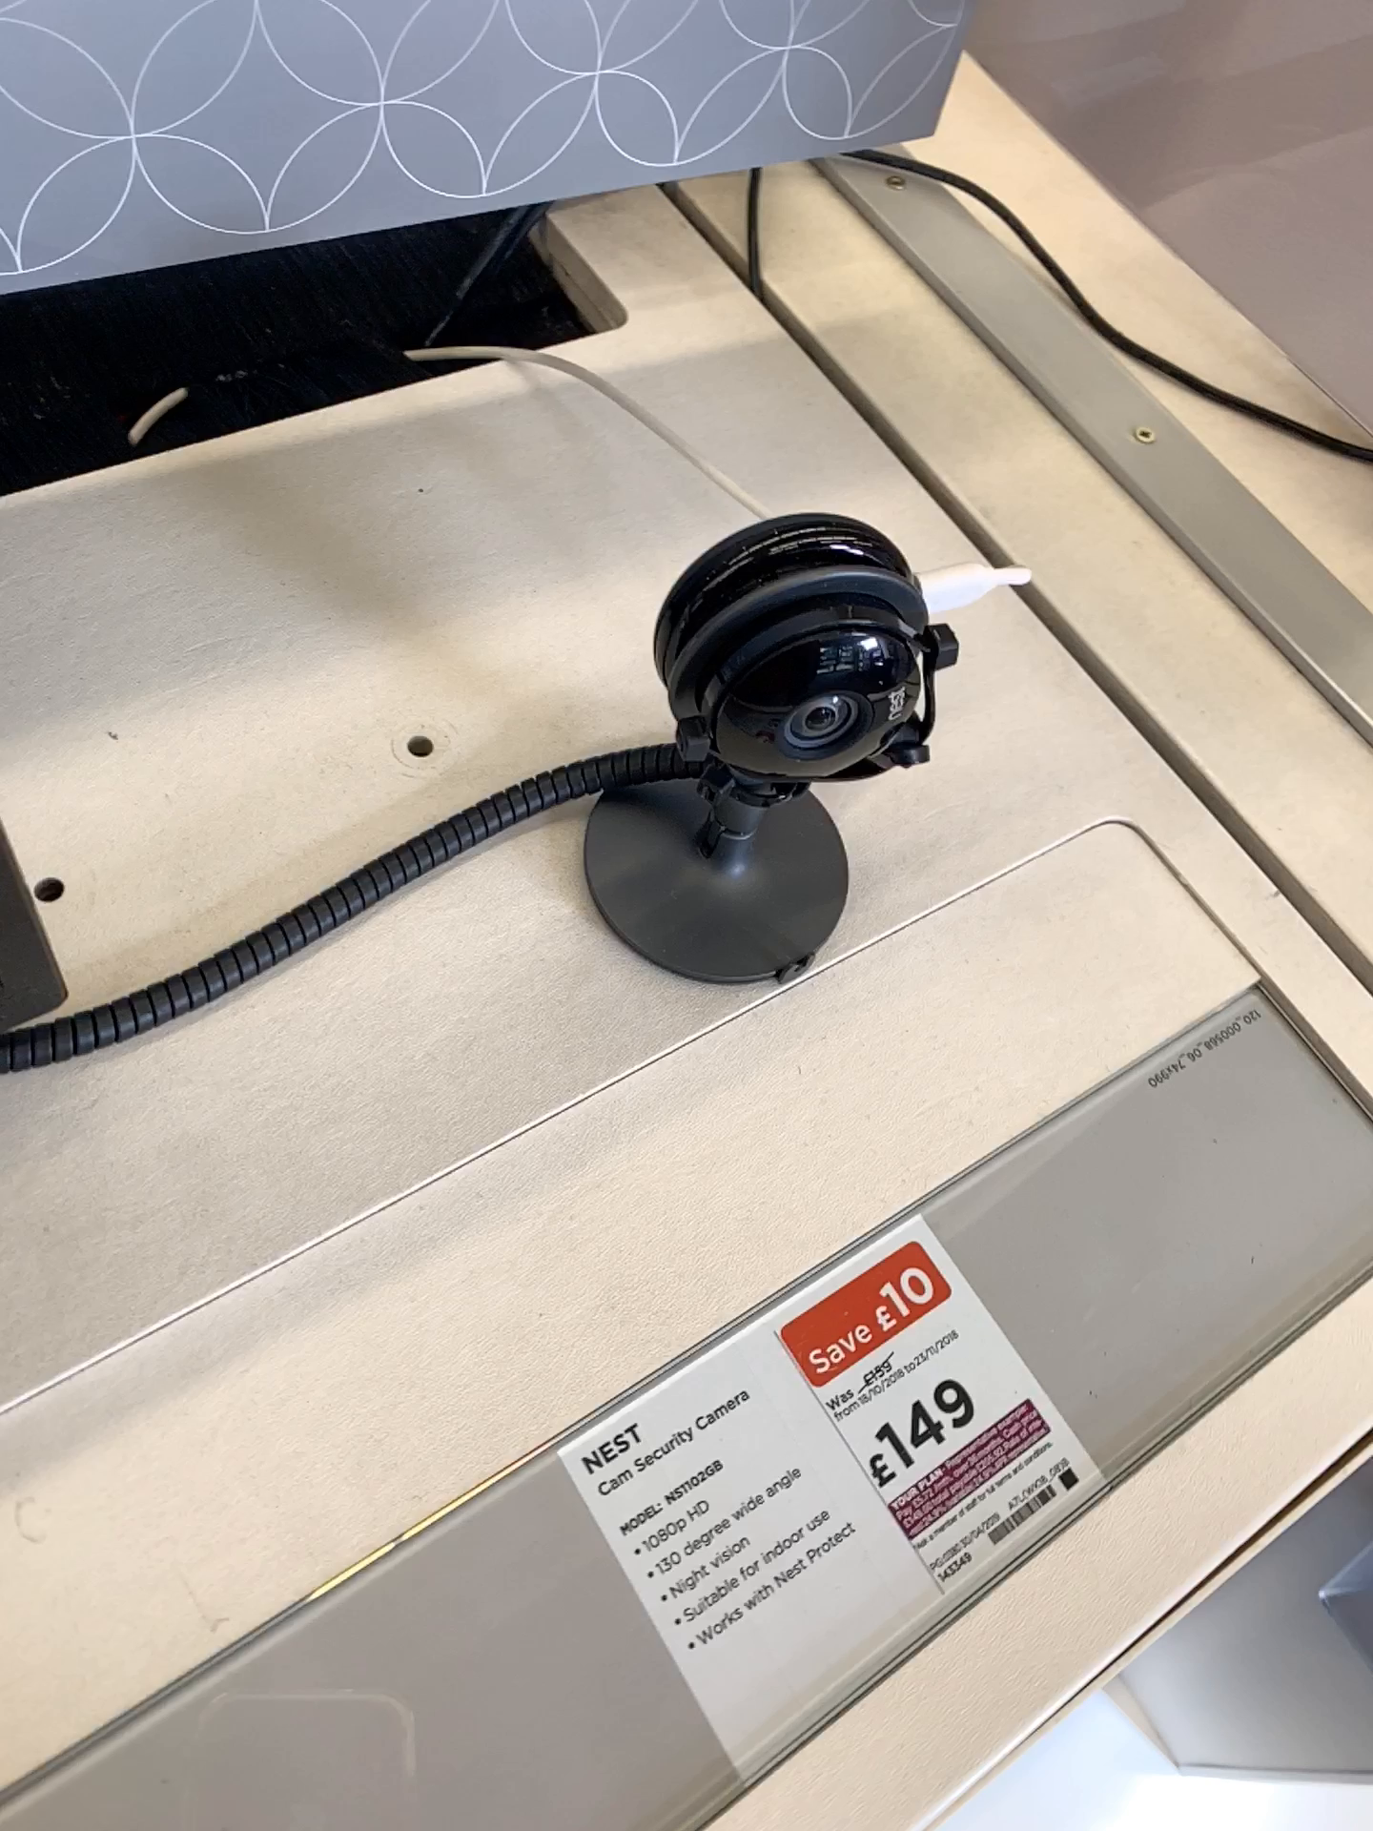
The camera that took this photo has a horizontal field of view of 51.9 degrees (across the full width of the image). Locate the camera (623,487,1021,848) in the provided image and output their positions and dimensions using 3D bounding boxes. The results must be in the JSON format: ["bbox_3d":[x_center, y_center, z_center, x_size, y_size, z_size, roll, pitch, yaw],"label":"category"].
[{"bbox_3d":[0.025,-0.052,0.296,0.060,0.050,0.050,-8,62,-17],"label":"camera"}]
